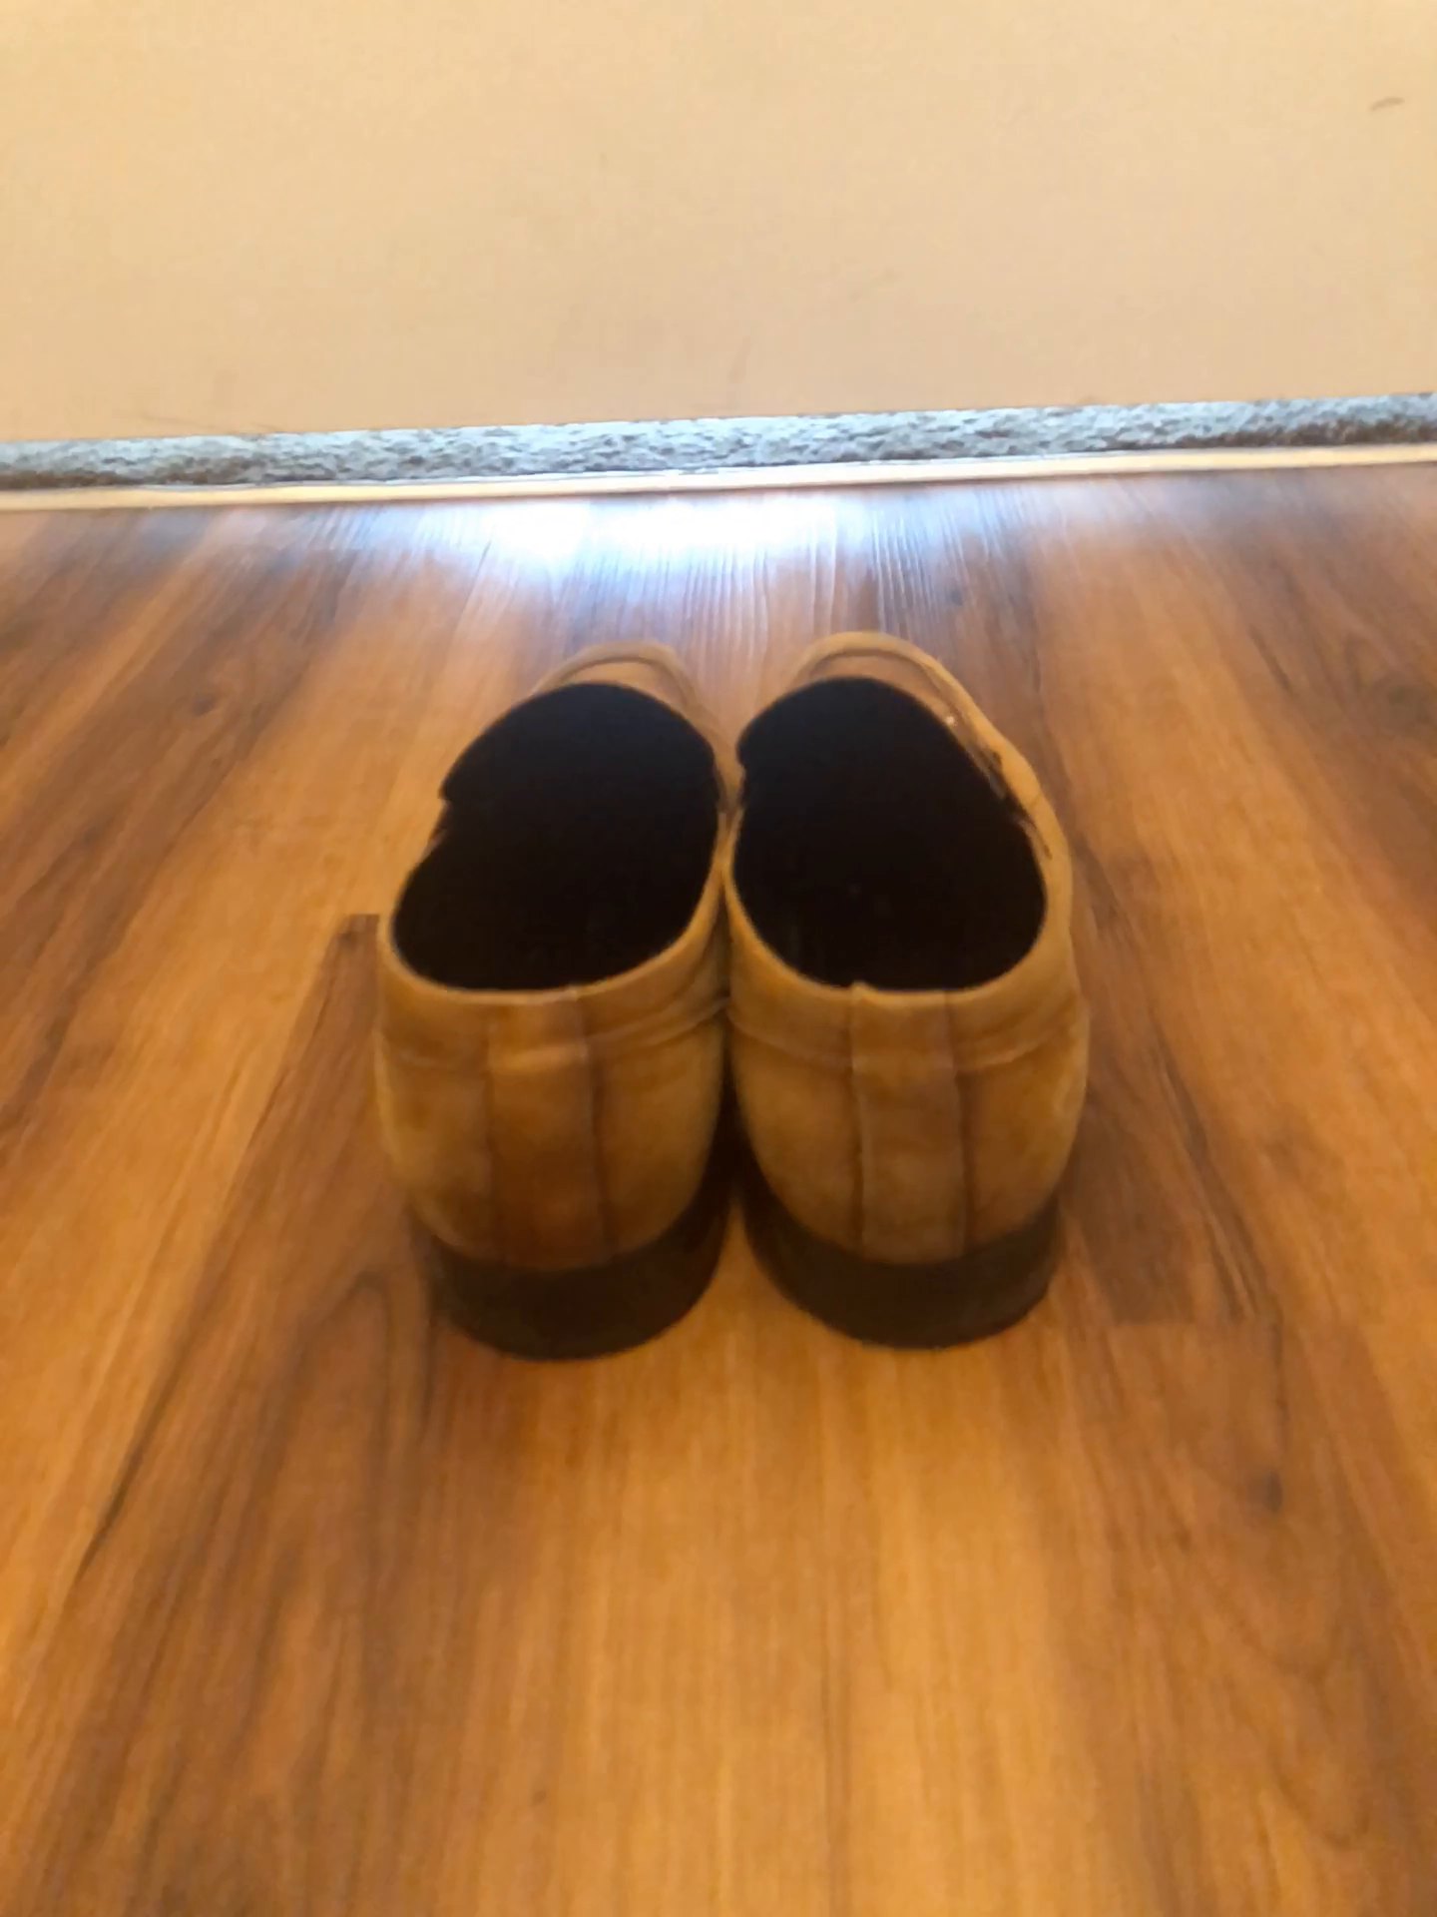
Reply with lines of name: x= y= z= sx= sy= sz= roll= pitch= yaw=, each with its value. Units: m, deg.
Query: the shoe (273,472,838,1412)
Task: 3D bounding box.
shoe: x=-0.035 y=-0.033 z=0.455 sx=0.106 sy=0.111 sz=0.309 roll=-4 pitch=35 yaw=0

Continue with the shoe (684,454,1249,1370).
shoe: x=0.056 y=-0.040 z=0.454 sx=0.106 sy=0.111 sz=0.309 roll=-1 pitch=35 yaw=4
